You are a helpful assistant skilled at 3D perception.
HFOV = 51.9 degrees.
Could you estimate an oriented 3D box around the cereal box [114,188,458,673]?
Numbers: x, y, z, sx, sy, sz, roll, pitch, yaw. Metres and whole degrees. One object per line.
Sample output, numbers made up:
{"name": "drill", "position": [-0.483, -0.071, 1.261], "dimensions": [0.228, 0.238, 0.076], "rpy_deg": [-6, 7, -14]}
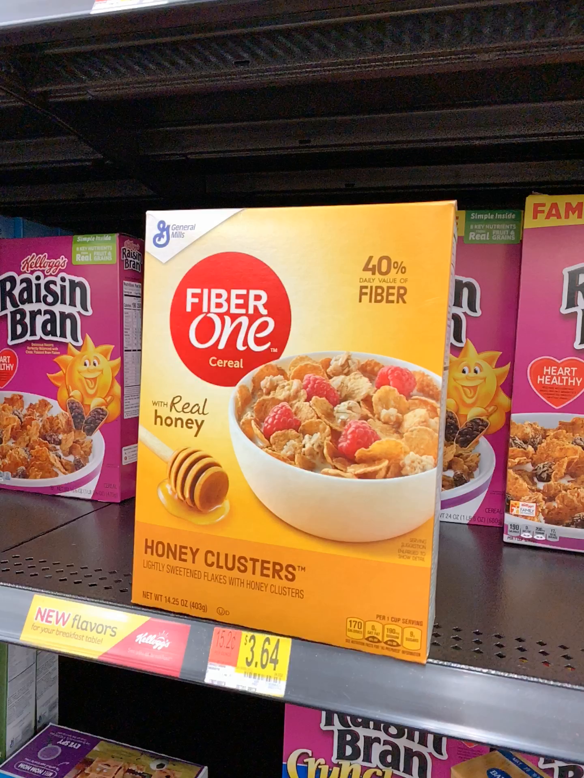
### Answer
{"name": "cereal box", "position": [-0.008, 0.018, 0.375], "dimensions": [0.200, 0.260, 0.050], "rpy_deg": [3, 3, 19]}
